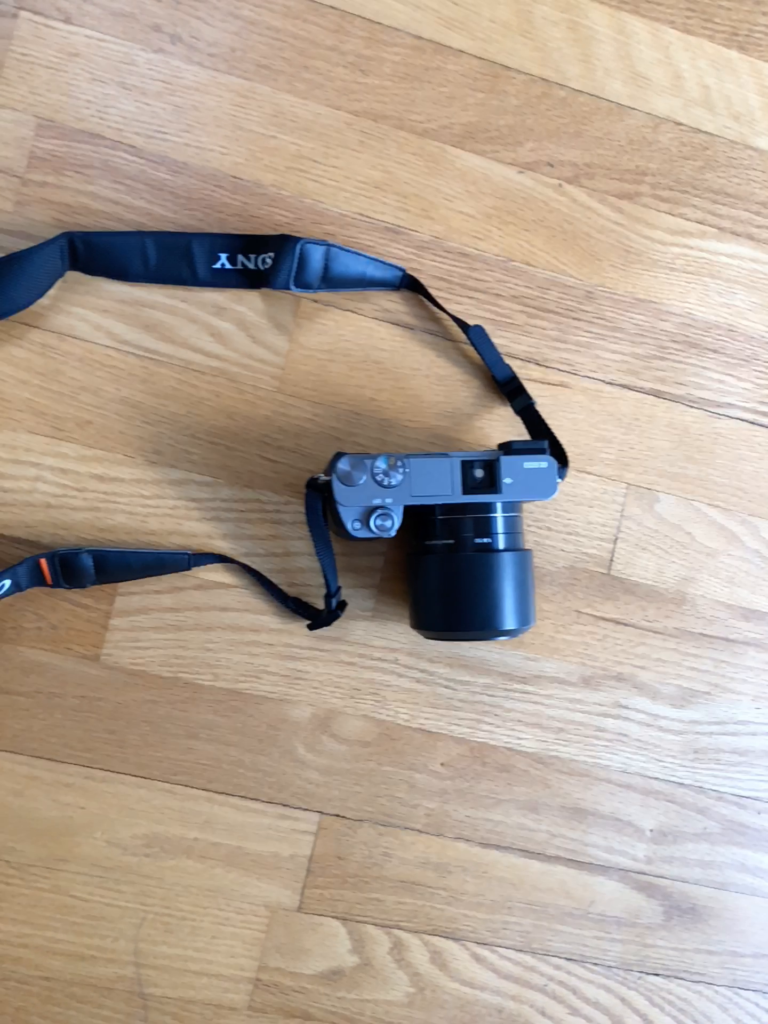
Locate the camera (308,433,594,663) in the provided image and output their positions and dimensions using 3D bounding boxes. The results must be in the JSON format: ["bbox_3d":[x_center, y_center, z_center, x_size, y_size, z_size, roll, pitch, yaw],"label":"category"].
[{"bbox_3d":[0.033,0.018,0.462,0.140,0.060,0.110,-3,89,-9],"label":"camera"}]
